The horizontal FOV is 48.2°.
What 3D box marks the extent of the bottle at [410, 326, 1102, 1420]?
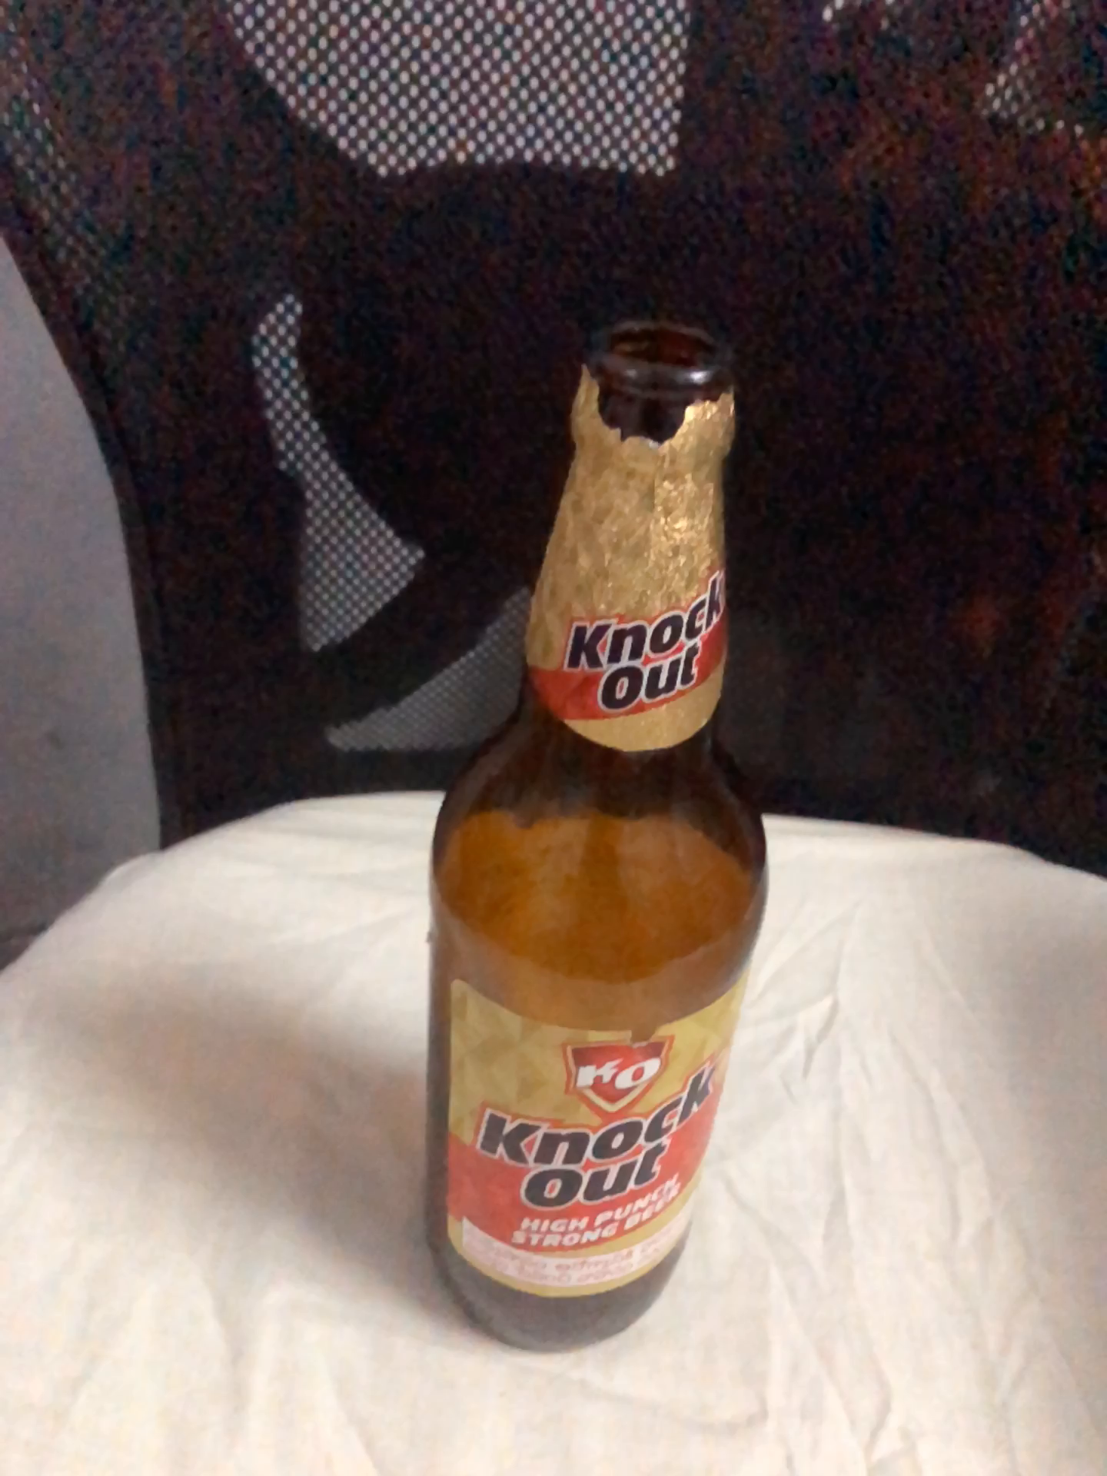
[{"bbox_3d":[0.018,0.048,0.268,0.080,0.249,0.070,-3,39,-14],"label":"bottle"}]
